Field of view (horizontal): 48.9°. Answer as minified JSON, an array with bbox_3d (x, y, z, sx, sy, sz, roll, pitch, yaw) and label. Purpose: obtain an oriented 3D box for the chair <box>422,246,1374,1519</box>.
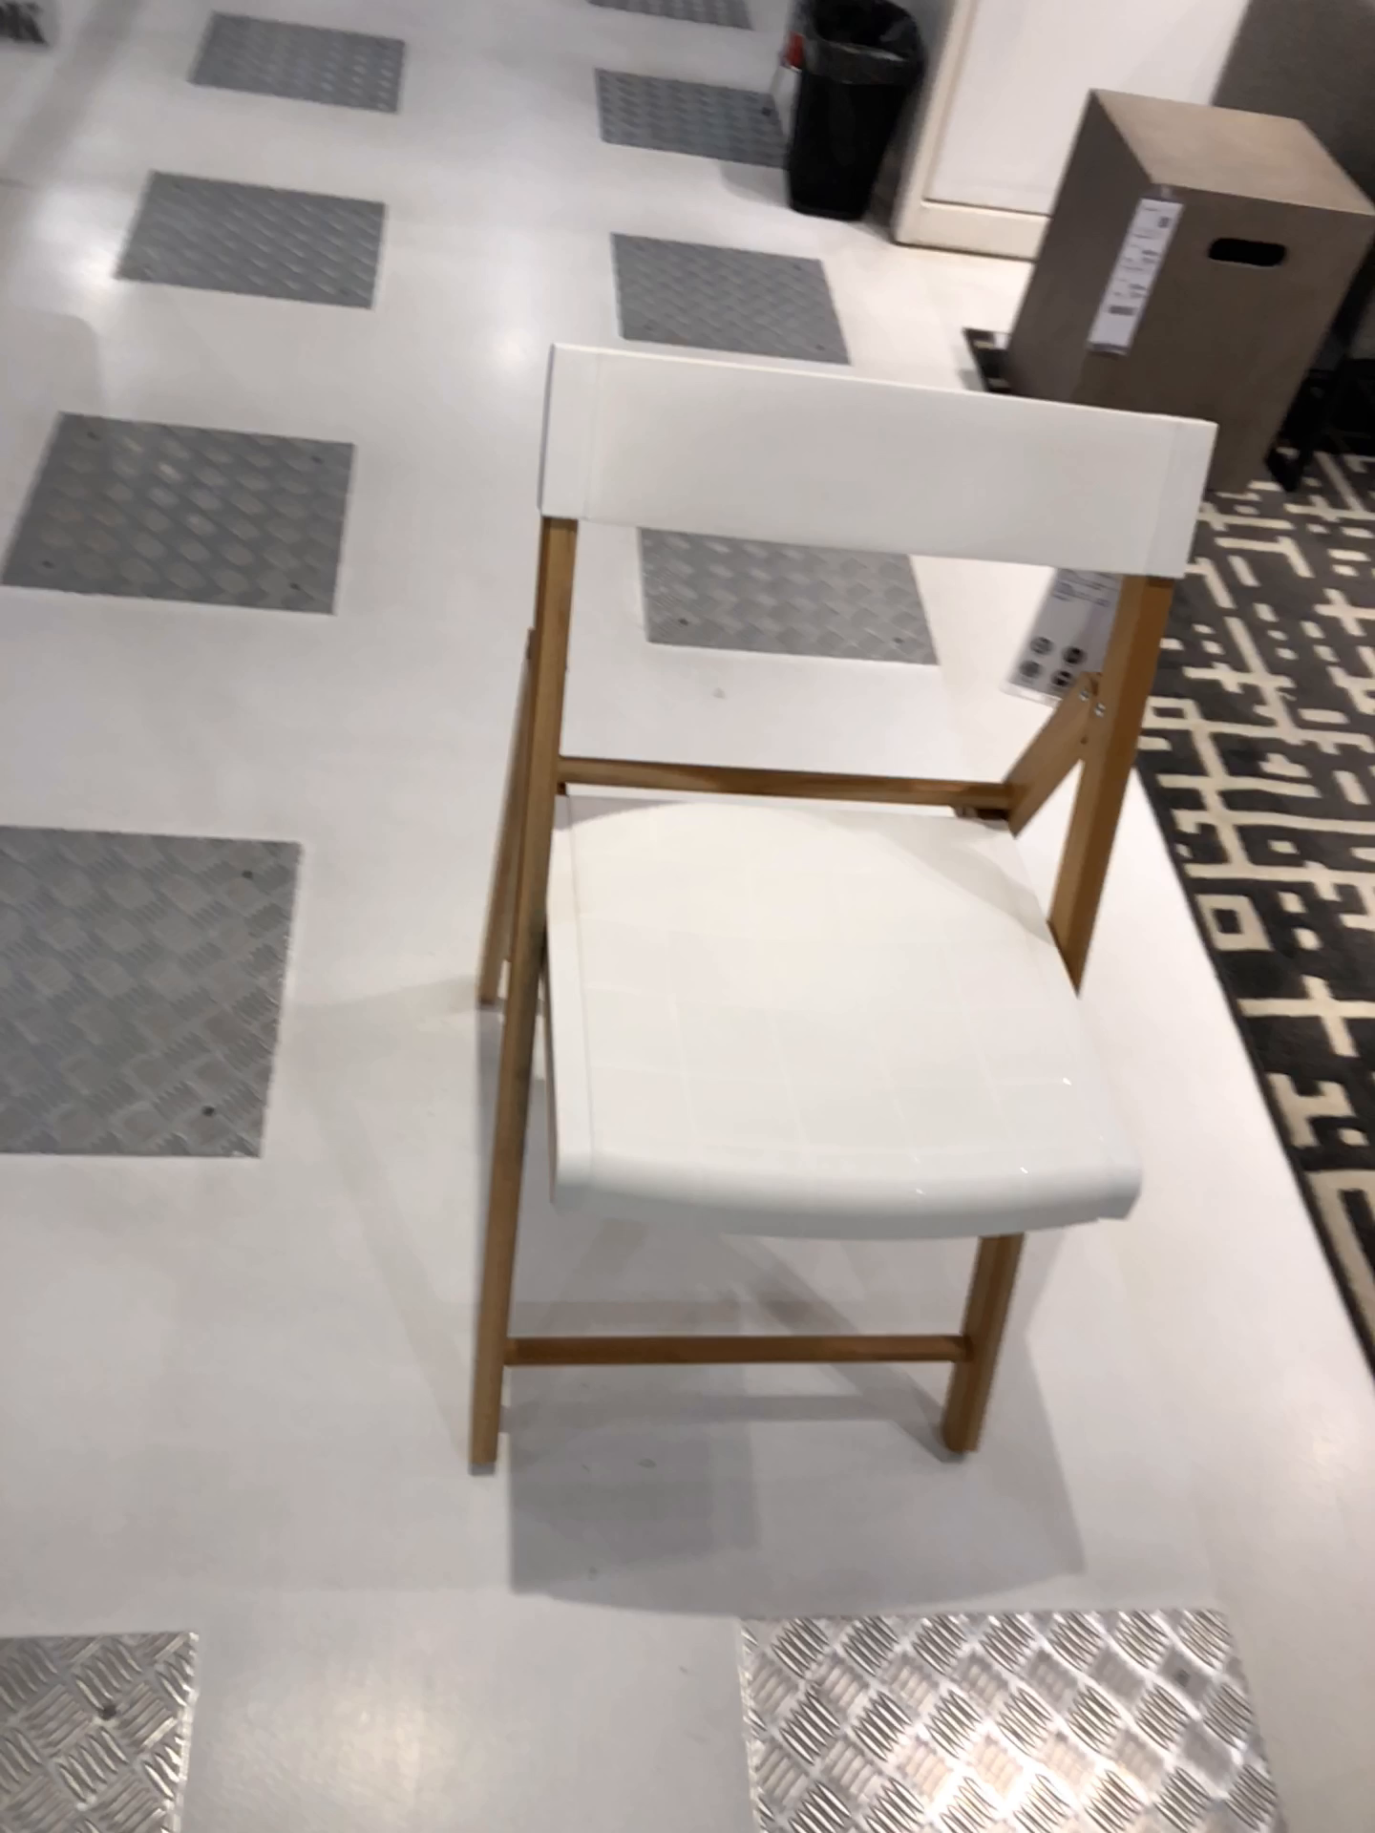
[{"bbox_3d":[0.063,0.013,1.095,0.470,0.705,0.553,2,47,-10],"label":"chair"}]
